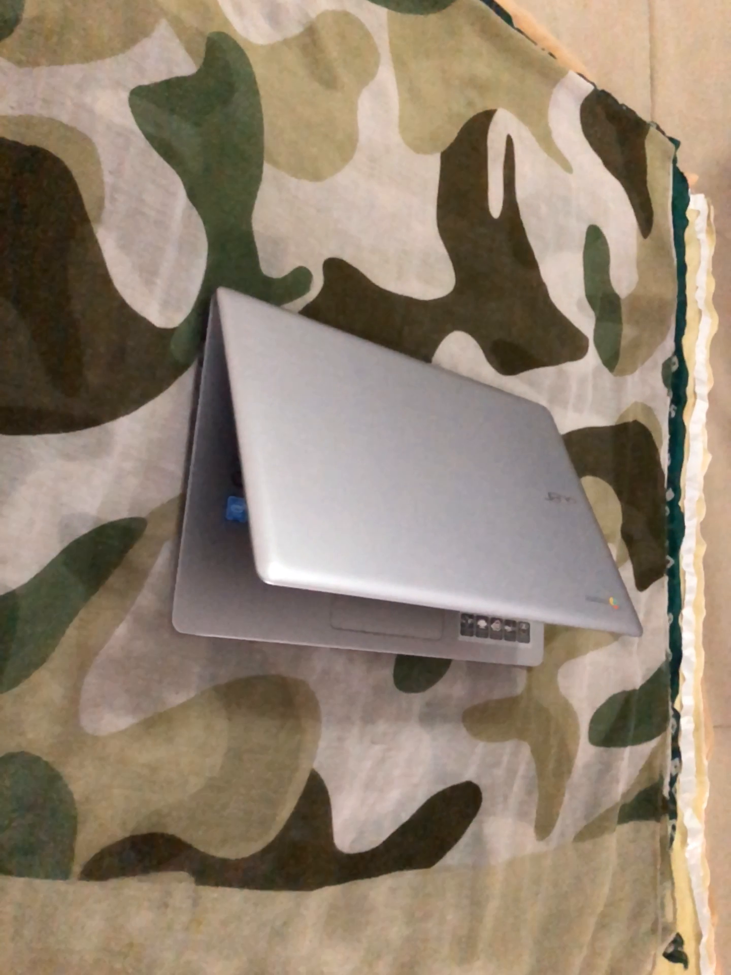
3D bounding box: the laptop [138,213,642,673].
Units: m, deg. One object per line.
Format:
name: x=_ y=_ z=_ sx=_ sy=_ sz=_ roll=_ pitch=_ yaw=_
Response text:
laptop: x=0.027 y=-0.004 z=0.554 sx=0.312 sy=0.124 sz=0.233 roll=13 pitch=69 yaw=-35
